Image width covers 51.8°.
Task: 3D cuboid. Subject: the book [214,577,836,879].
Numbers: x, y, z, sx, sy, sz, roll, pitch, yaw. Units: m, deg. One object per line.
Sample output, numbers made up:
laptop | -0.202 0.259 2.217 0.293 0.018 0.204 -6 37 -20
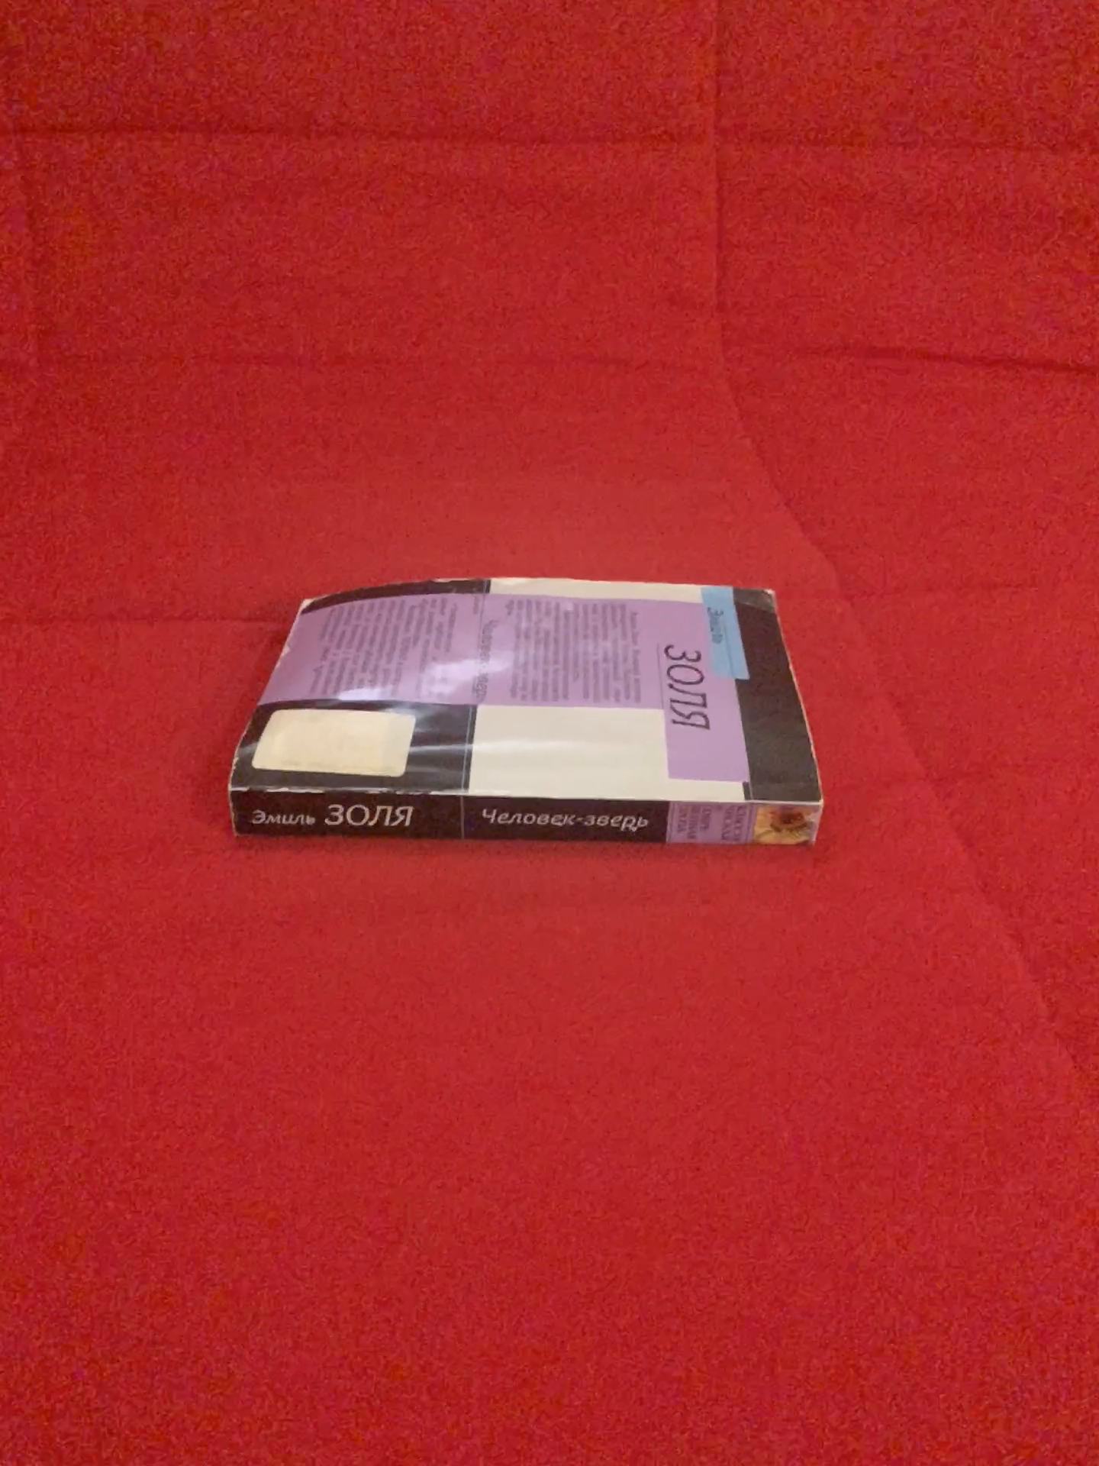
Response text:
book | -0.006 -0.006 0.364 0.170 0.033 0.109 1 38 0
